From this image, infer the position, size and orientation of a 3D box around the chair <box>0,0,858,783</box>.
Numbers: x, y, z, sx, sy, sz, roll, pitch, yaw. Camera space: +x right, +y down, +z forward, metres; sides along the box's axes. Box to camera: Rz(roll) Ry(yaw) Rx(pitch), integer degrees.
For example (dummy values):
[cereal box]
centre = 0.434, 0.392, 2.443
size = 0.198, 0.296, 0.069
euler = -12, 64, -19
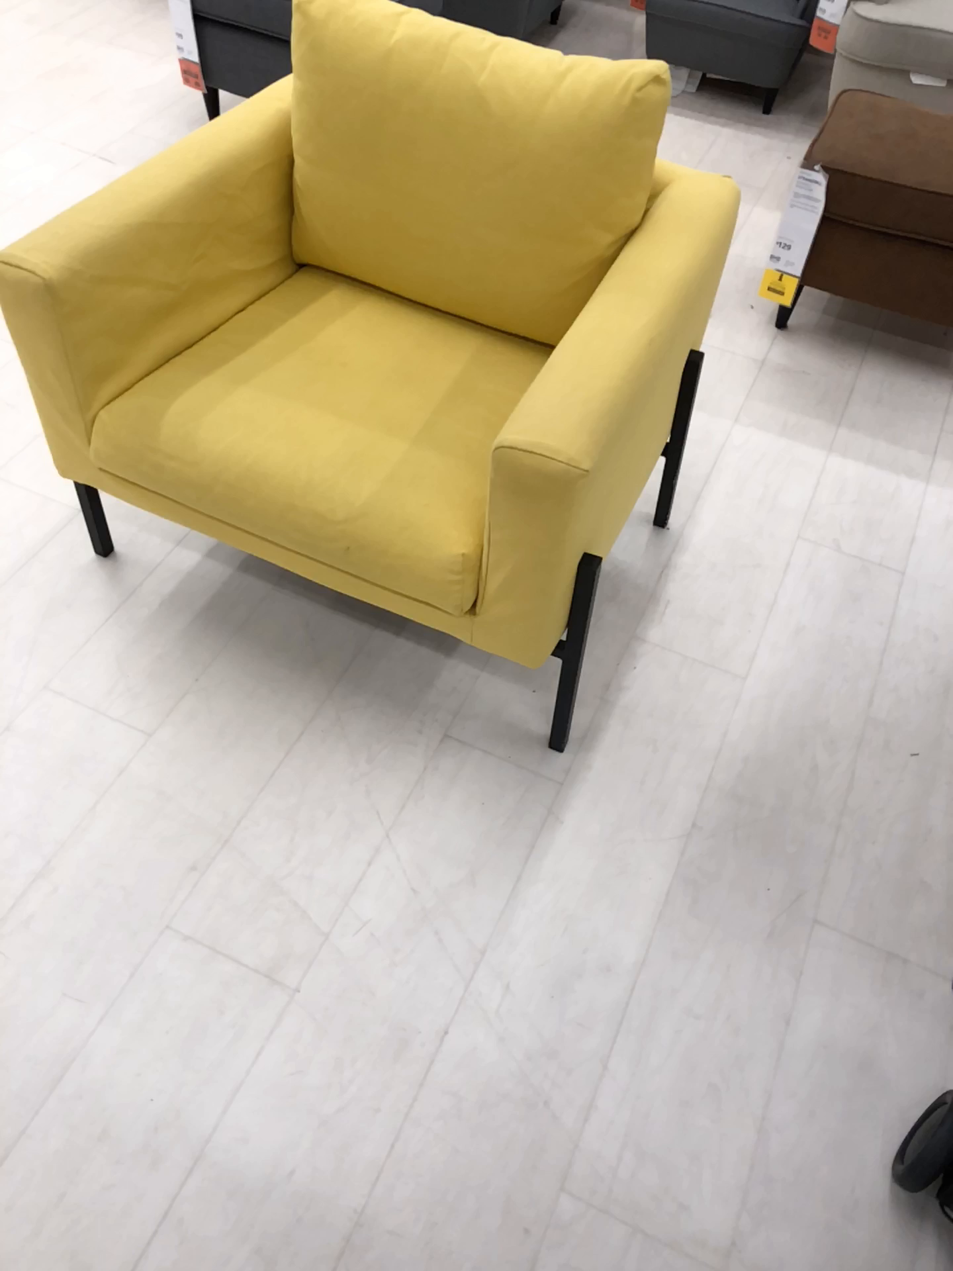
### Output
[chair]
centre = -0.110, -0.437, 1.572
size = 0.980, 0.758, 0.692
euler = 22, 52, 13
